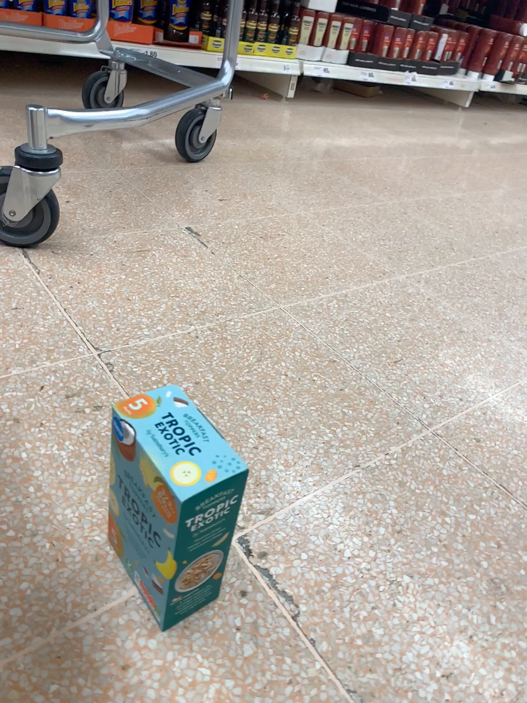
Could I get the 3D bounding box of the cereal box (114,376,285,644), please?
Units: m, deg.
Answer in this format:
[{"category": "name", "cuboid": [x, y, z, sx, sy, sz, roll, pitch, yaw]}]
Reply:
[{"category": "cereal box", "cuboid": [-0.057, 0.116, 0.401, 0.060, 0.149, 0.111, -17, 44, -36]}]
